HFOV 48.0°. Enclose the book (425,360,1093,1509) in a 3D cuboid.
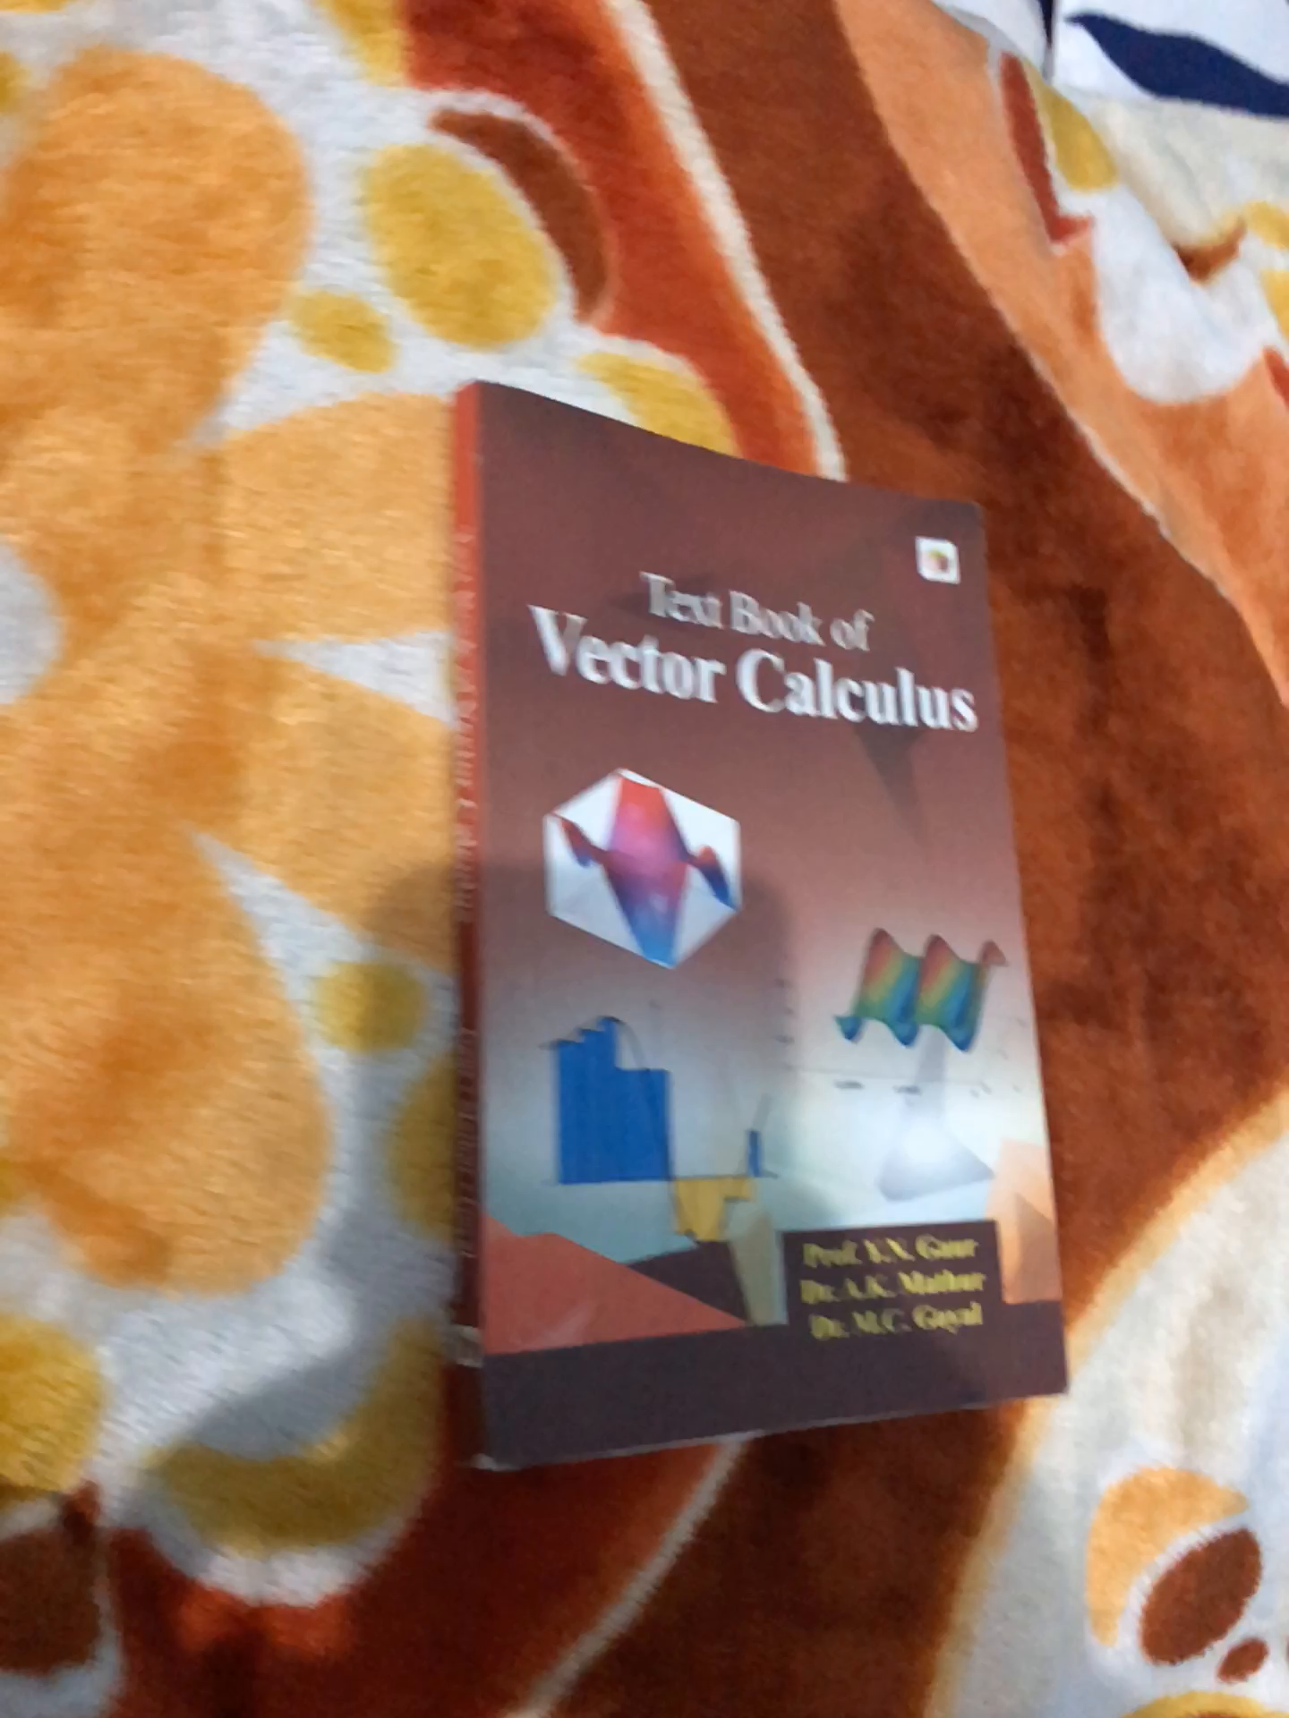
[{"bbox_3d":[0.025,0.012,0.304,0.141,0.020,0.210,4,76,-29],"label":"book"}]
